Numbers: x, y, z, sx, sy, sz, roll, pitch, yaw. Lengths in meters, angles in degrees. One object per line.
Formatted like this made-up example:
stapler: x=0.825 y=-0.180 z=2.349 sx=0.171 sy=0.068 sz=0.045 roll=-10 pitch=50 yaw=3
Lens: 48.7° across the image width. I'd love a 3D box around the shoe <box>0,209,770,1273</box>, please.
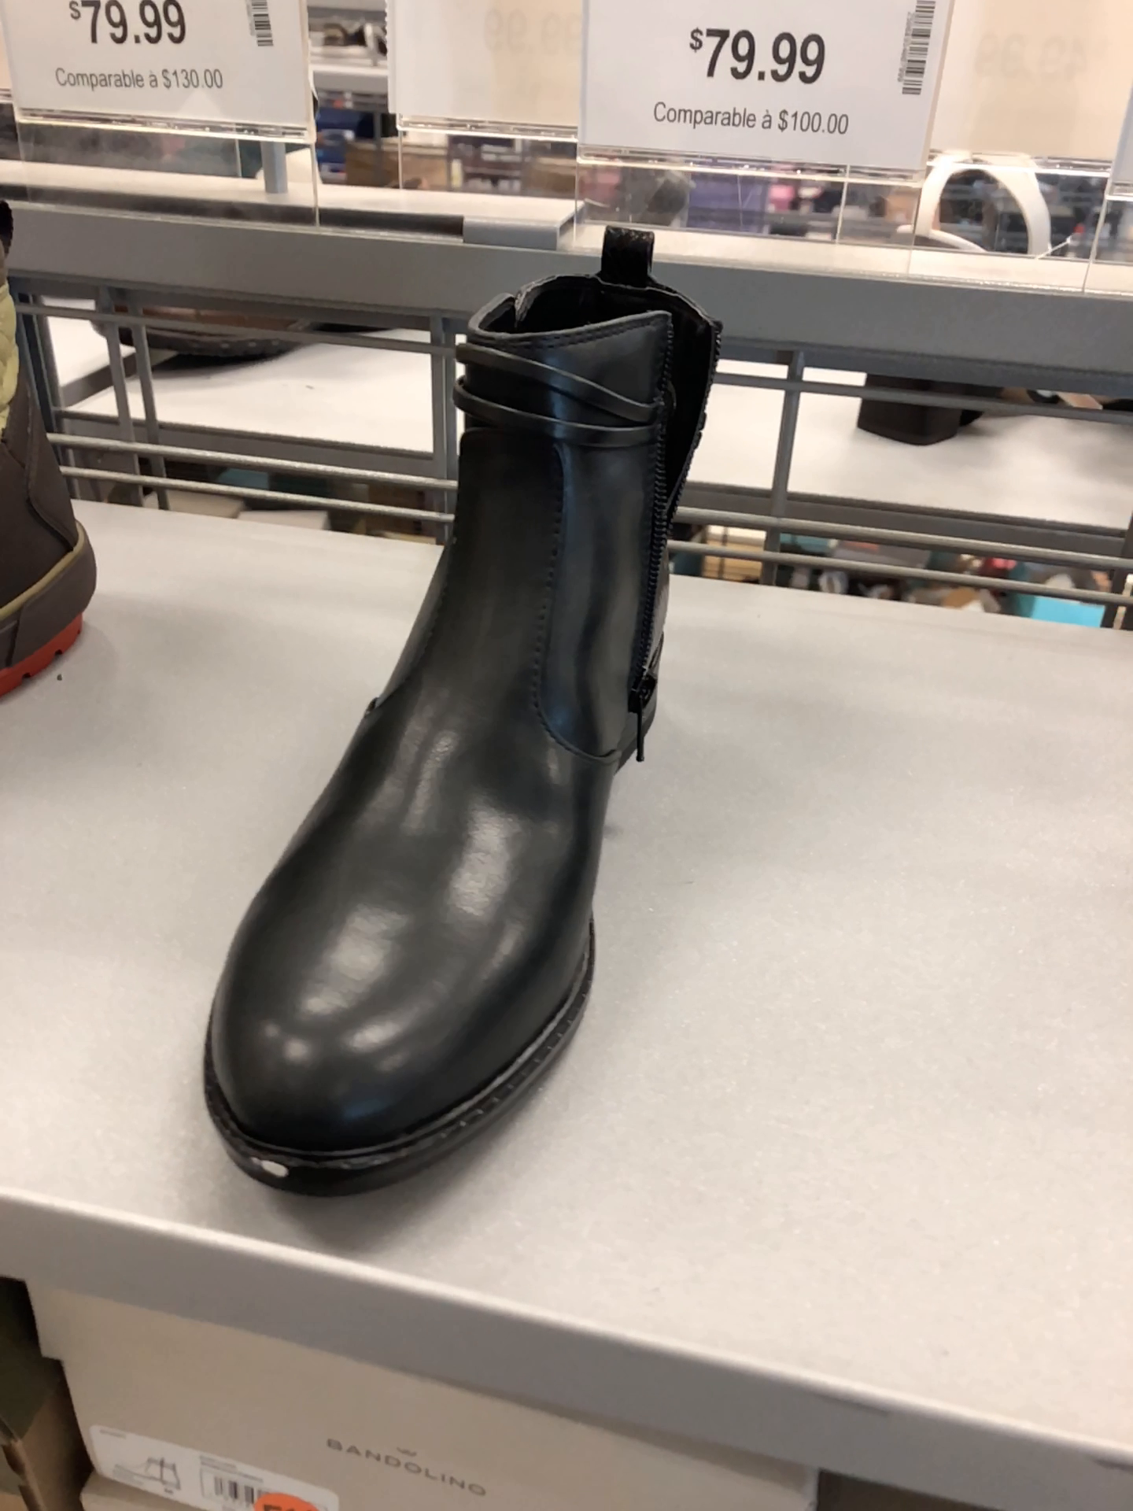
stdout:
shoe: x=-0.021 y=-0.031 z=0.305 sx=0.090 sy=0.149 sz=0.232 roll=11 pitch=33 yaw=12
